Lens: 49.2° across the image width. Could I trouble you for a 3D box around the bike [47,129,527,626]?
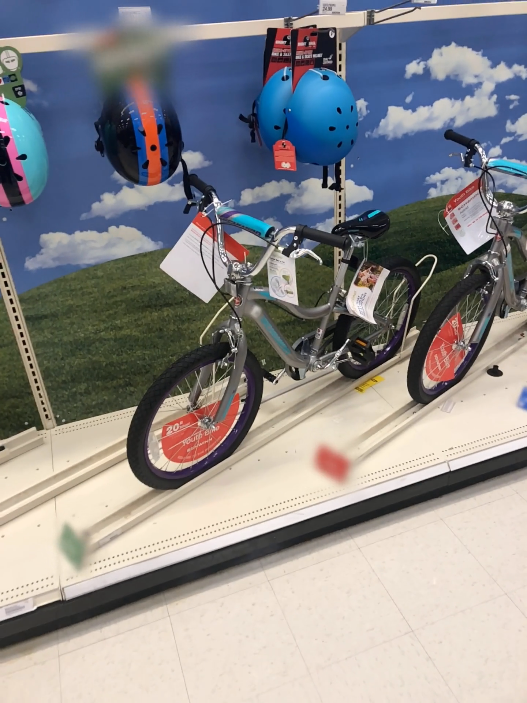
[{"bbox_3d":[0.162,-0.065,1.848,1.323,0.878,0.651,-29,38,-32],"label":"bike"}]
